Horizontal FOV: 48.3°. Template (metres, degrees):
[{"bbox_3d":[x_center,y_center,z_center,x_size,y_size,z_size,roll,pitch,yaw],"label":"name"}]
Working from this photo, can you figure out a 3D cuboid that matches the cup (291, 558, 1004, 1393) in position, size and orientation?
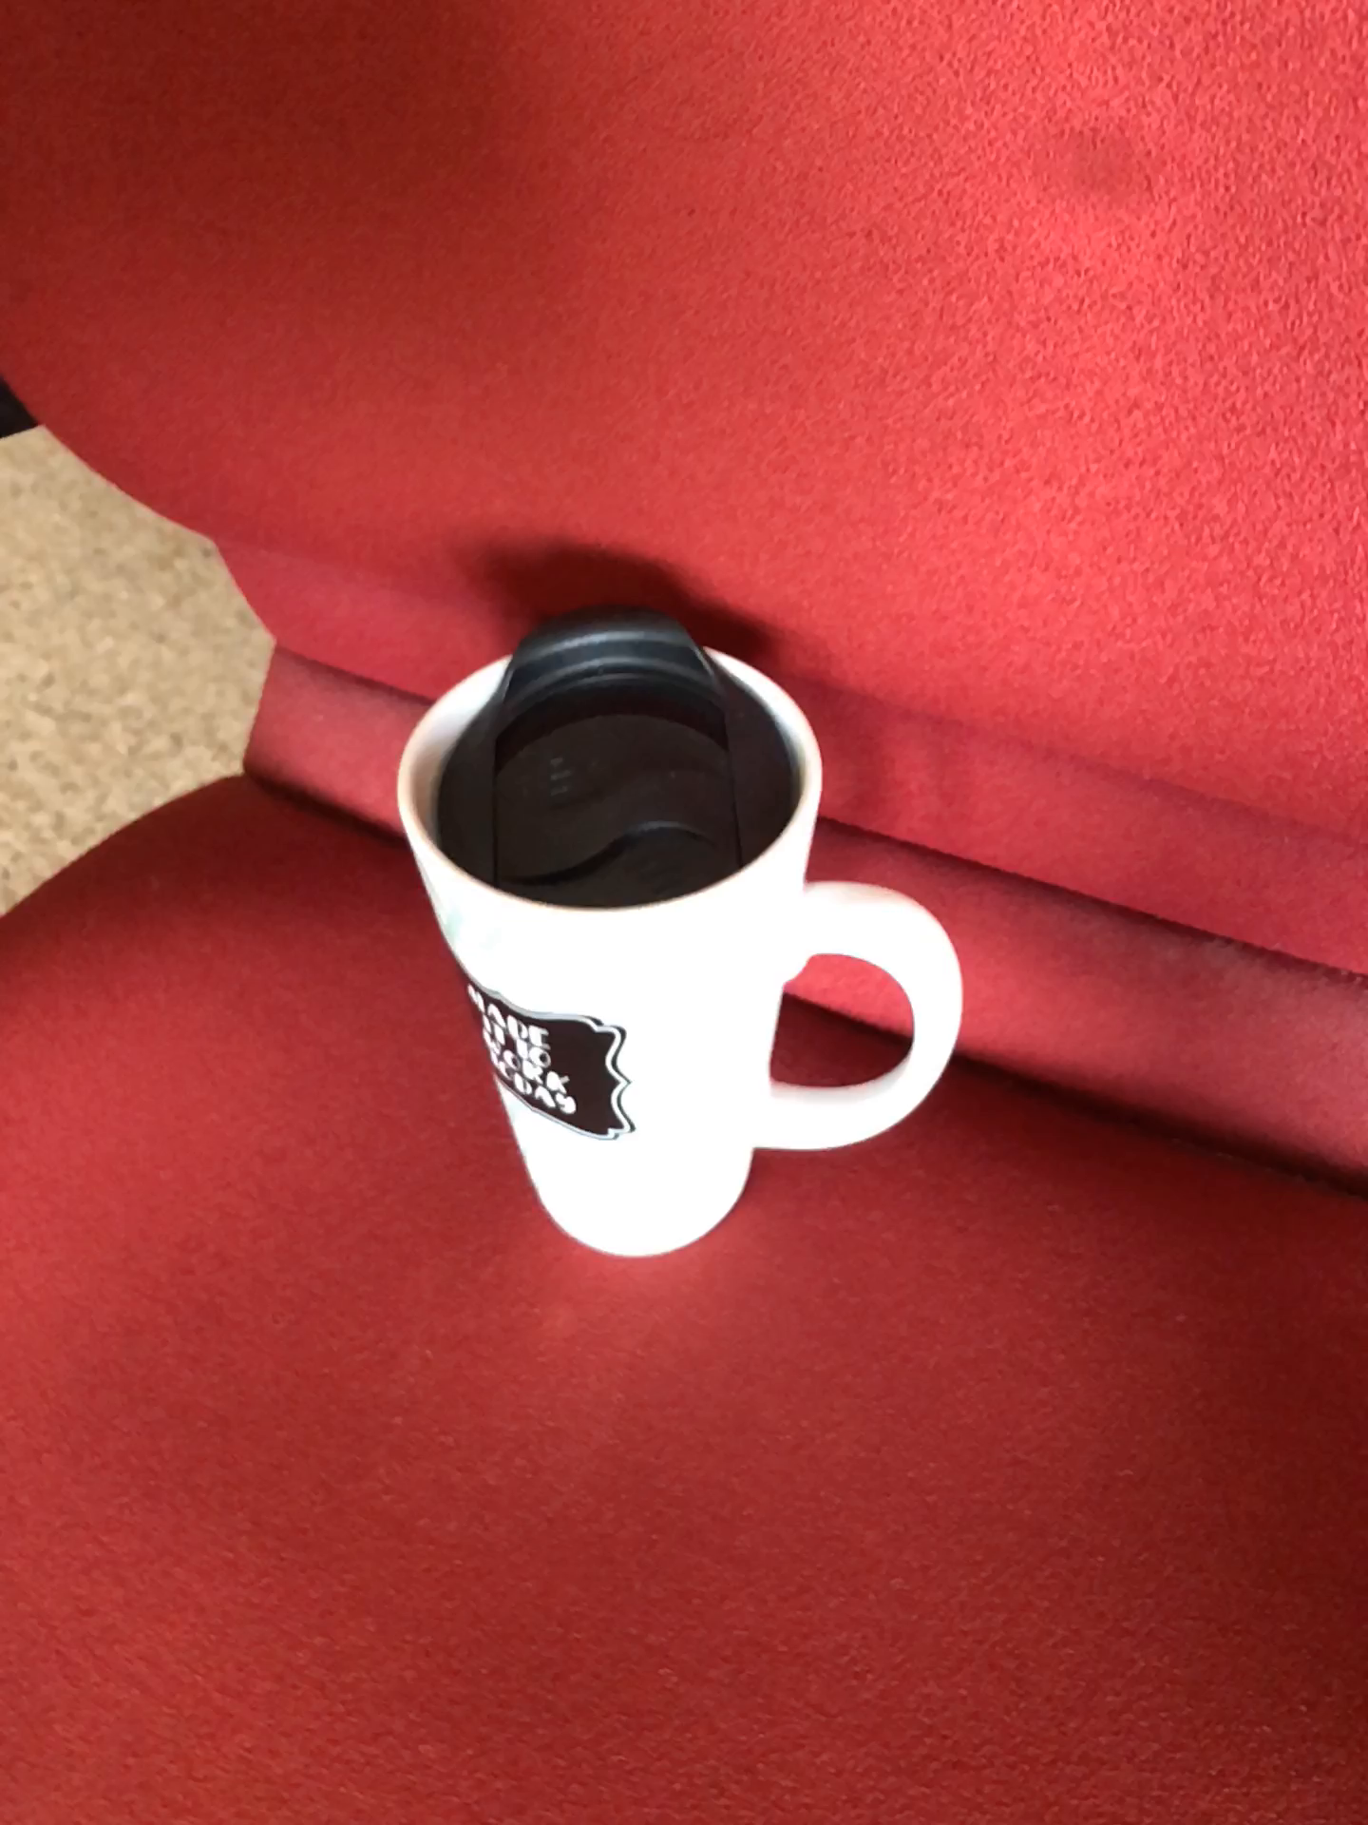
[{"bbox_3d":[0.001,0.018,0.364,0.120,0.160,0.080,22,56,27],"label":"cup"}]
